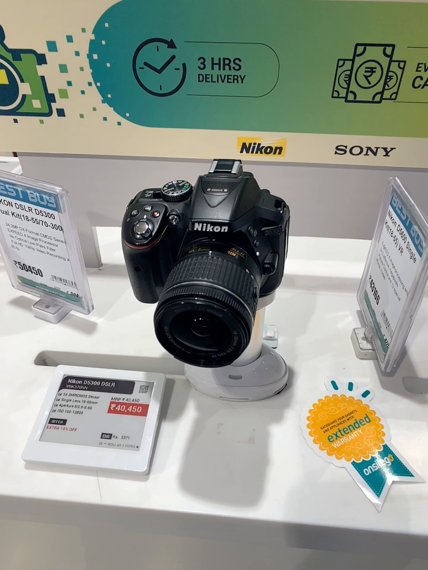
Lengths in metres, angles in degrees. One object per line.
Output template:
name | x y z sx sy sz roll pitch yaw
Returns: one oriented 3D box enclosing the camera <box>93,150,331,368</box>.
camera | 0.003 -0.024 0.290 0.118 0.082 0.123 3 39 4
